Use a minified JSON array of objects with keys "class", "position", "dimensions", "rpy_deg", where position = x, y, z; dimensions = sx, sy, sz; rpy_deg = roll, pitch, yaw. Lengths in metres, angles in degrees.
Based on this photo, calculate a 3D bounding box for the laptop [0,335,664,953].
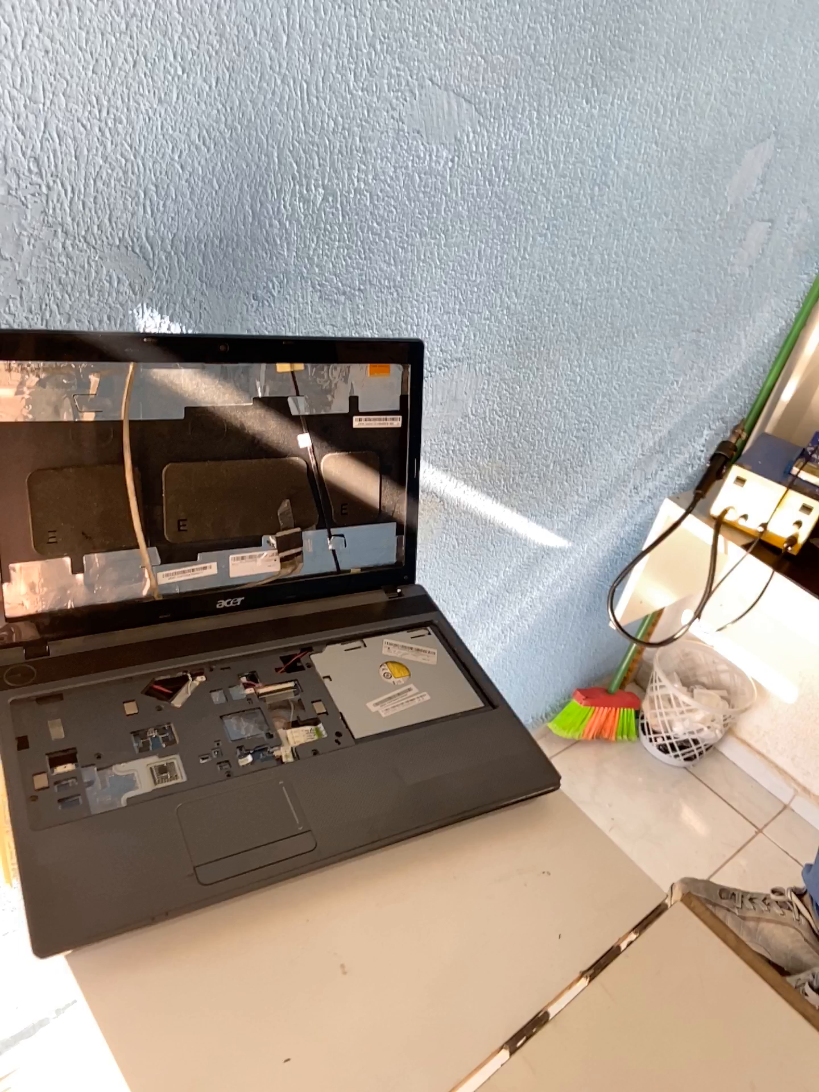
[{"class":"laptop","position":[-0.100,0.019,0.624],"dimensions":[0.379,0.210,0.350],"rpy_deg":[-7,39,-29]}]
